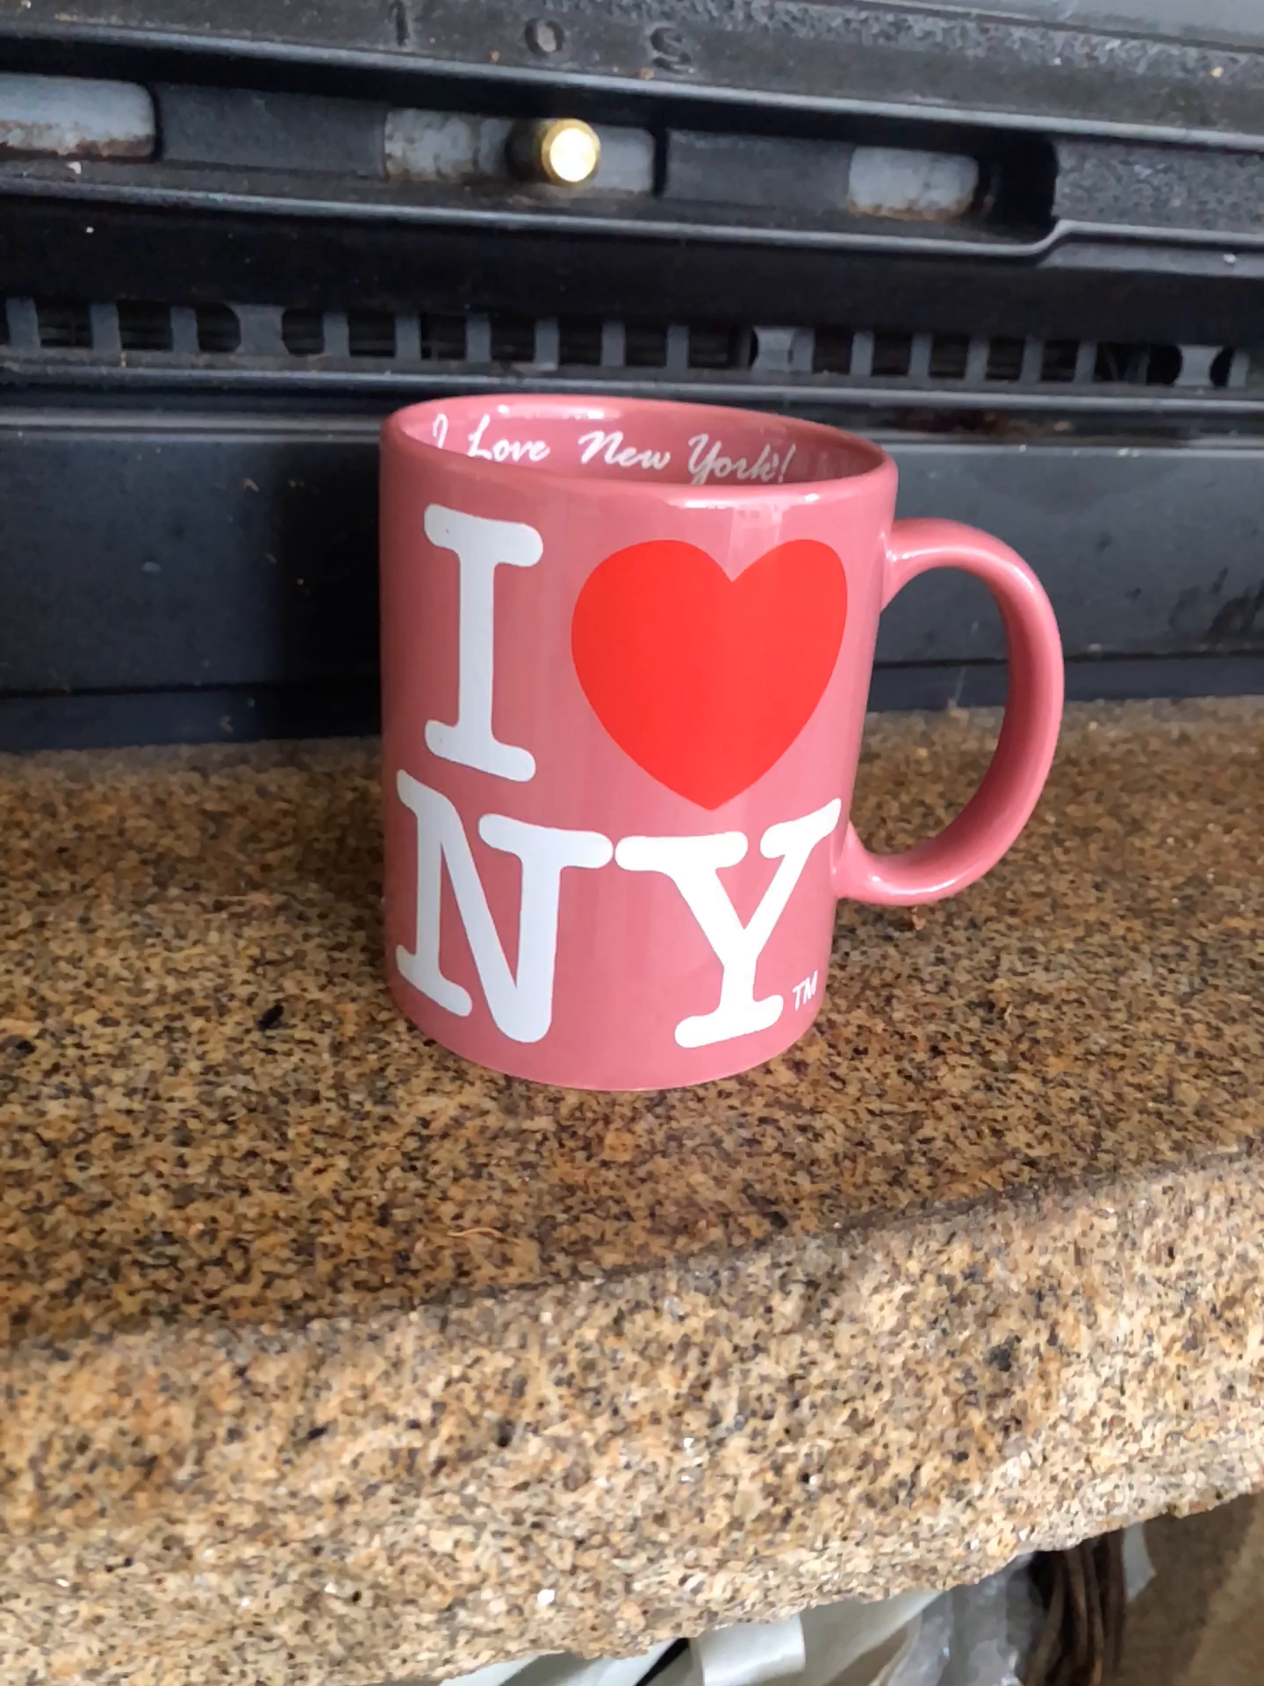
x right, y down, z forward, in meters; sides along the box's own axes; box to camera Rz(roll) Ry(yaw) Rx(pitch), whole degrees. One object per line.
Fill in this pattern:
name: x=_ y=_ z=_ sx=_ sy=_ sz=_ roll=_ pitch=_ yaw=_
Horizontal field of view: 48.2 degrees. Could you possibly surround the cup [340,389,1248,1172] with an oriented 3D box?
cup: x=0.017 y=-0.020 z=0.249 sx=0.120 sy=0.099 sz=0.090 roll=-5 pitch=26 yaw=-19
